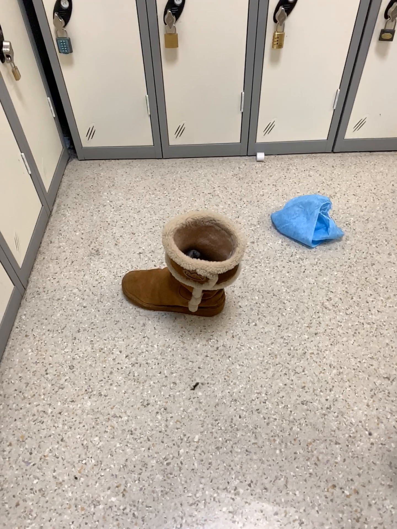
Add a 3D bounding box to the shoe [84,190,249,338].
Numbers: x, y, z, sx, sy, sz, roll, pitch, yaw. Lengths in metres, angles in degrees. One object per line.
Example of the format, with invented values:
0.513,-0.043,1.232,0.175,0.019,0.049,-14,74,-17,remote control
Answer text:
-0.059,0.001,0.927,0.306,0.243,0.159,12,50,13,shoe
